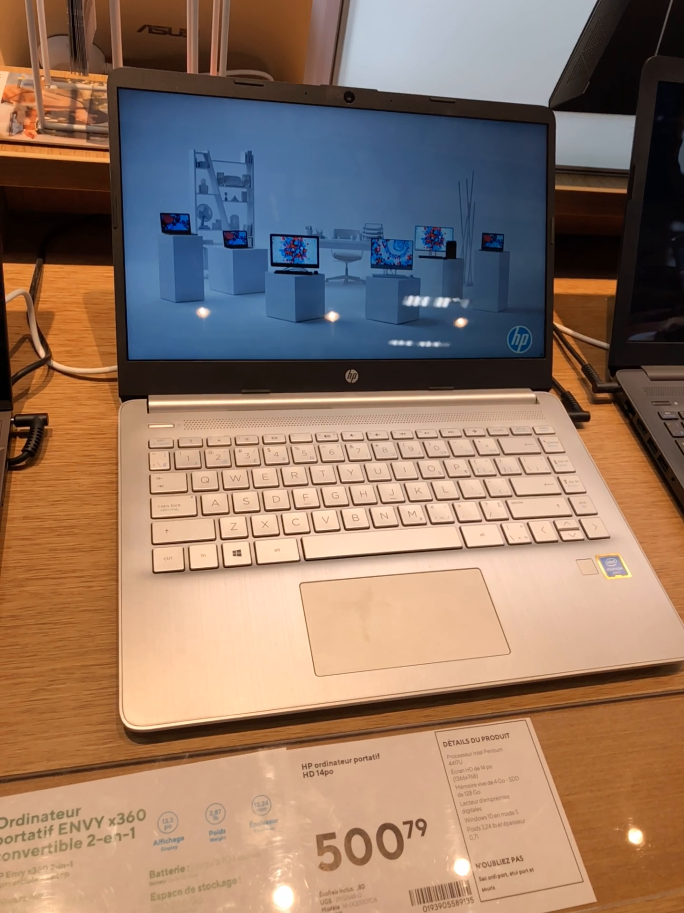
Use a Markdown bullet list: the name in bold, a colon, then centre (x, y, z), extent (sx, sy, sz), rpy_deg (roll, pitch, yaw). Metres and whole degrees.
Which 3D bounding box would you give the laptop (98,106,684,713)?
- **laptop**: centre (0.020, -0.059, 0.472), extent (0.308, 0.167, 0.347), rpy_deg (-3, 47, -12)
